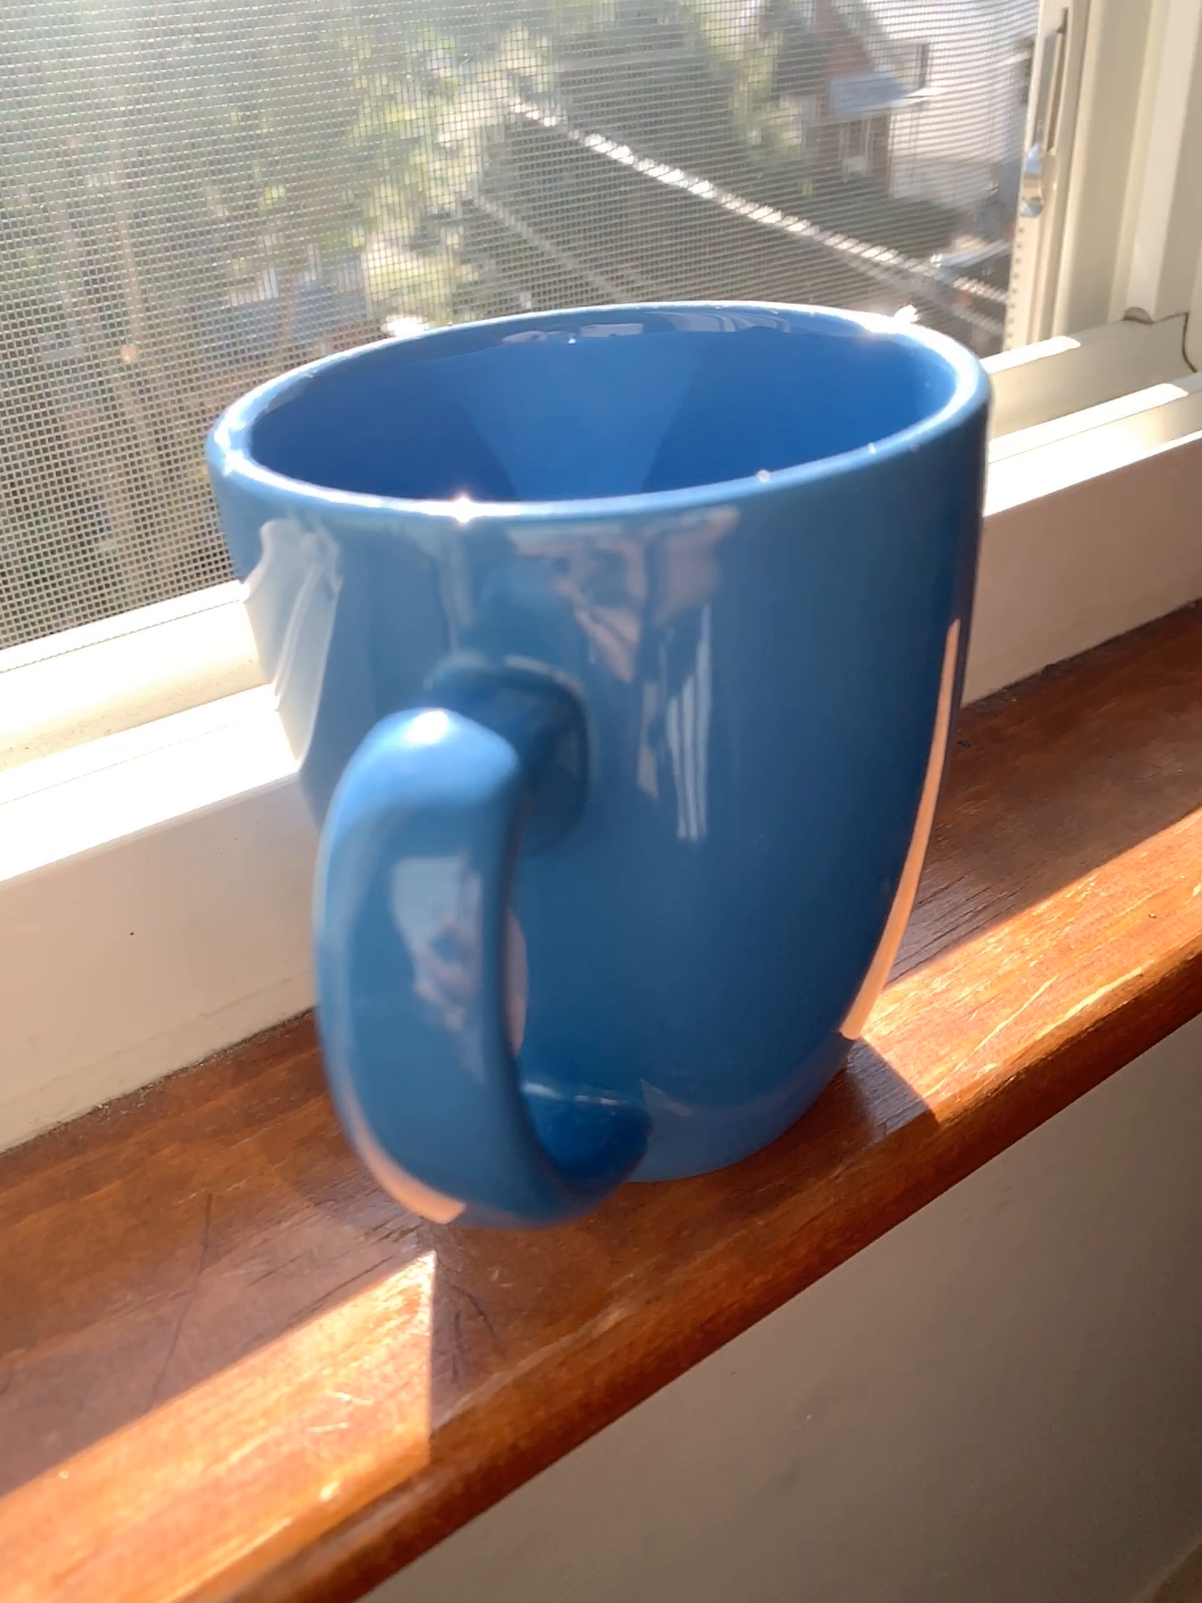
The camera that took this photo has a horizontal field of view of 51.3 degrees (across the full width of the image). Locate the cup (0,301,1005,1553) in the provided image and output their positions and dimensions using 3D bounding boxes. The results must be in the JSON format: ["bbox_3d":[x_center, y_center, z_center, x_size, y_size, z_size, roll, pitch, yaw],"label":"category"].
[{"bbox_3d":[0.001,0.000,0.156,0.081,0.095,0.114,6,34,15],"label":"cup"}]
